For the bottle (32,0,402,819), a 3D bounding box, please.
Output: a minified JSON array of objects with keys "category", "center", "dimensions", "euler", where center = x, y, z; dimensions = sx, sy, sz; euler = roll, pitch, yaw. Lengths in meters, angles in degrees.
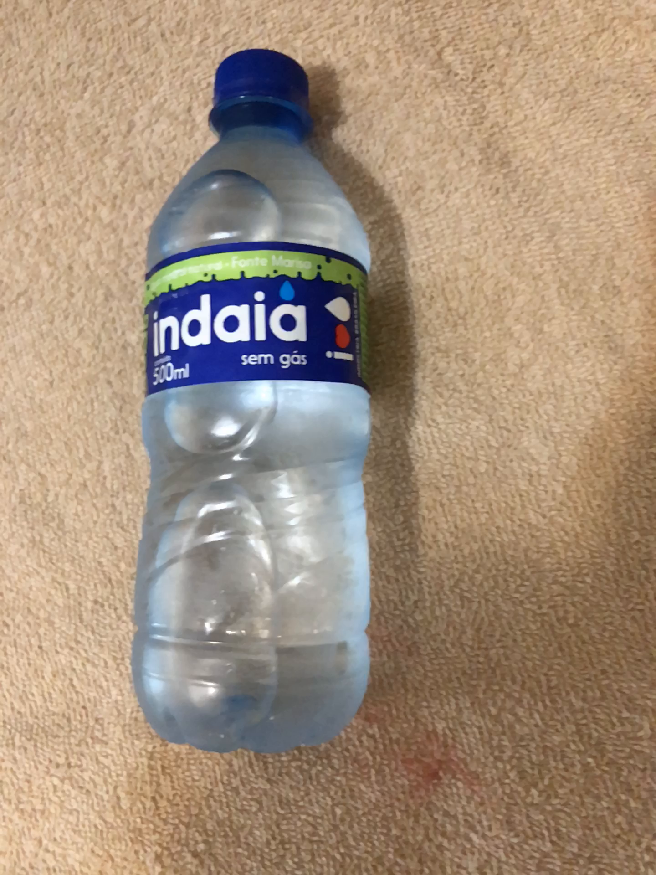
[{"category":"bottle","center":[-0.029,-0.018,0.206],"dimensions":[0.080,0.050,0.210],"euler":[-5,81,19]}]
